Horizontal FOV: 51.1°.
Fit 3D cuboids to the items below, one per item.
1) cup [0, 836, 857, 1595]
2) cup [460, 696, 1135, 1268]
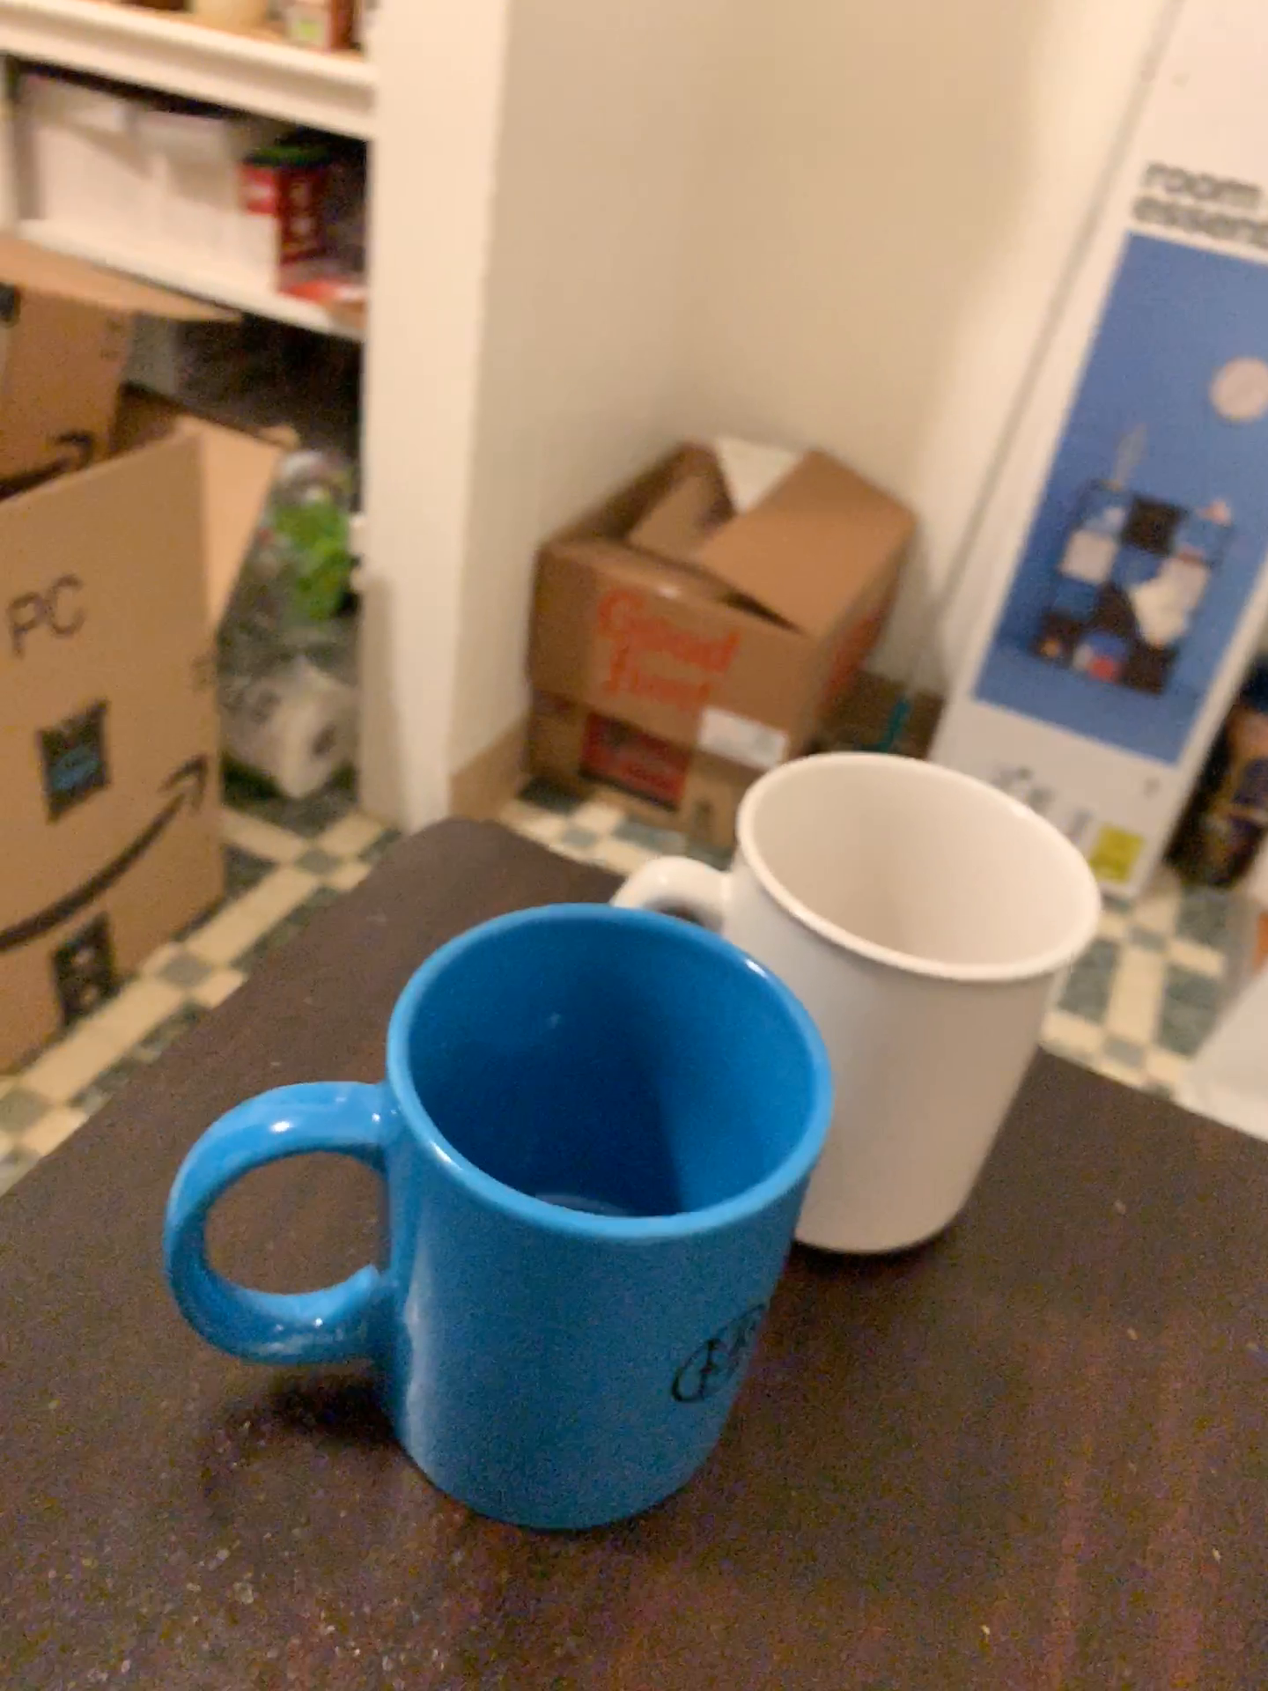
[{"bbox_3d":[-0.048,0.067,0.254,0.140,0.099,0.091,2,37,-11],"label":"cup"},{"bbox_3d":[0.026,0.034,0.325,0.130,0.099,0.091,3,36,-10],"label":"cup"}]
